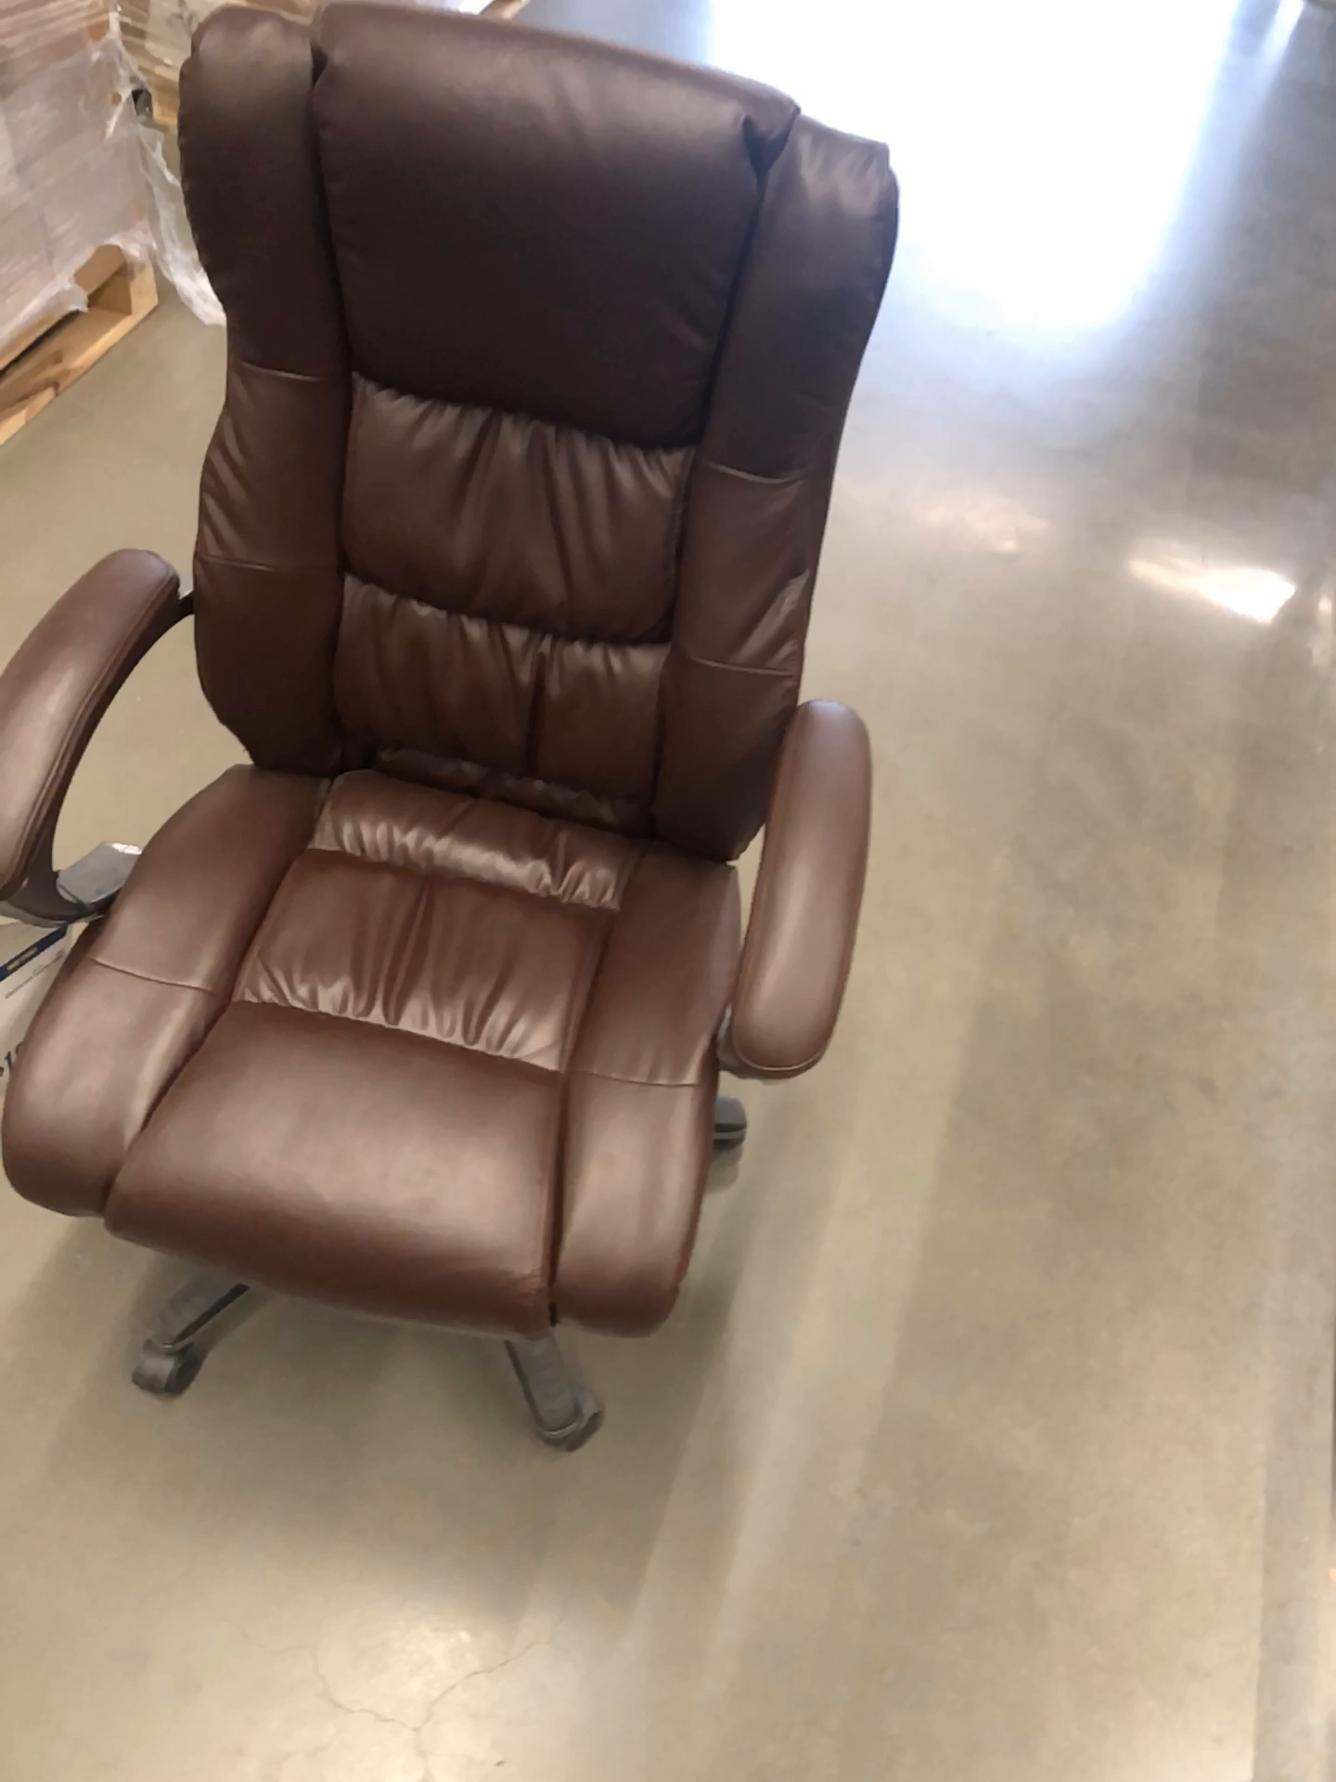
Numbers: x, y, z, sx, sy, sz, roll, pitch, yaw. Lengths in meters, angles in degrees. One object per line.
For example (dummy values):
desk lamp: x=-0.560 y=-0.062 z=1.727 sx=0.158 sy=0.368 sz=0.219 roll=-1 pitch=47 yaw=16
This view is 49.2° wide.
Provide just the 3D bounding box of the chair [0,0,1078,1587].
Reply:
chair: x=-0.197 y=-0.029 z=1.171 sx=0.680 sy=1.093 sz=0.654 roll=14 pitch=49 yaw=3
